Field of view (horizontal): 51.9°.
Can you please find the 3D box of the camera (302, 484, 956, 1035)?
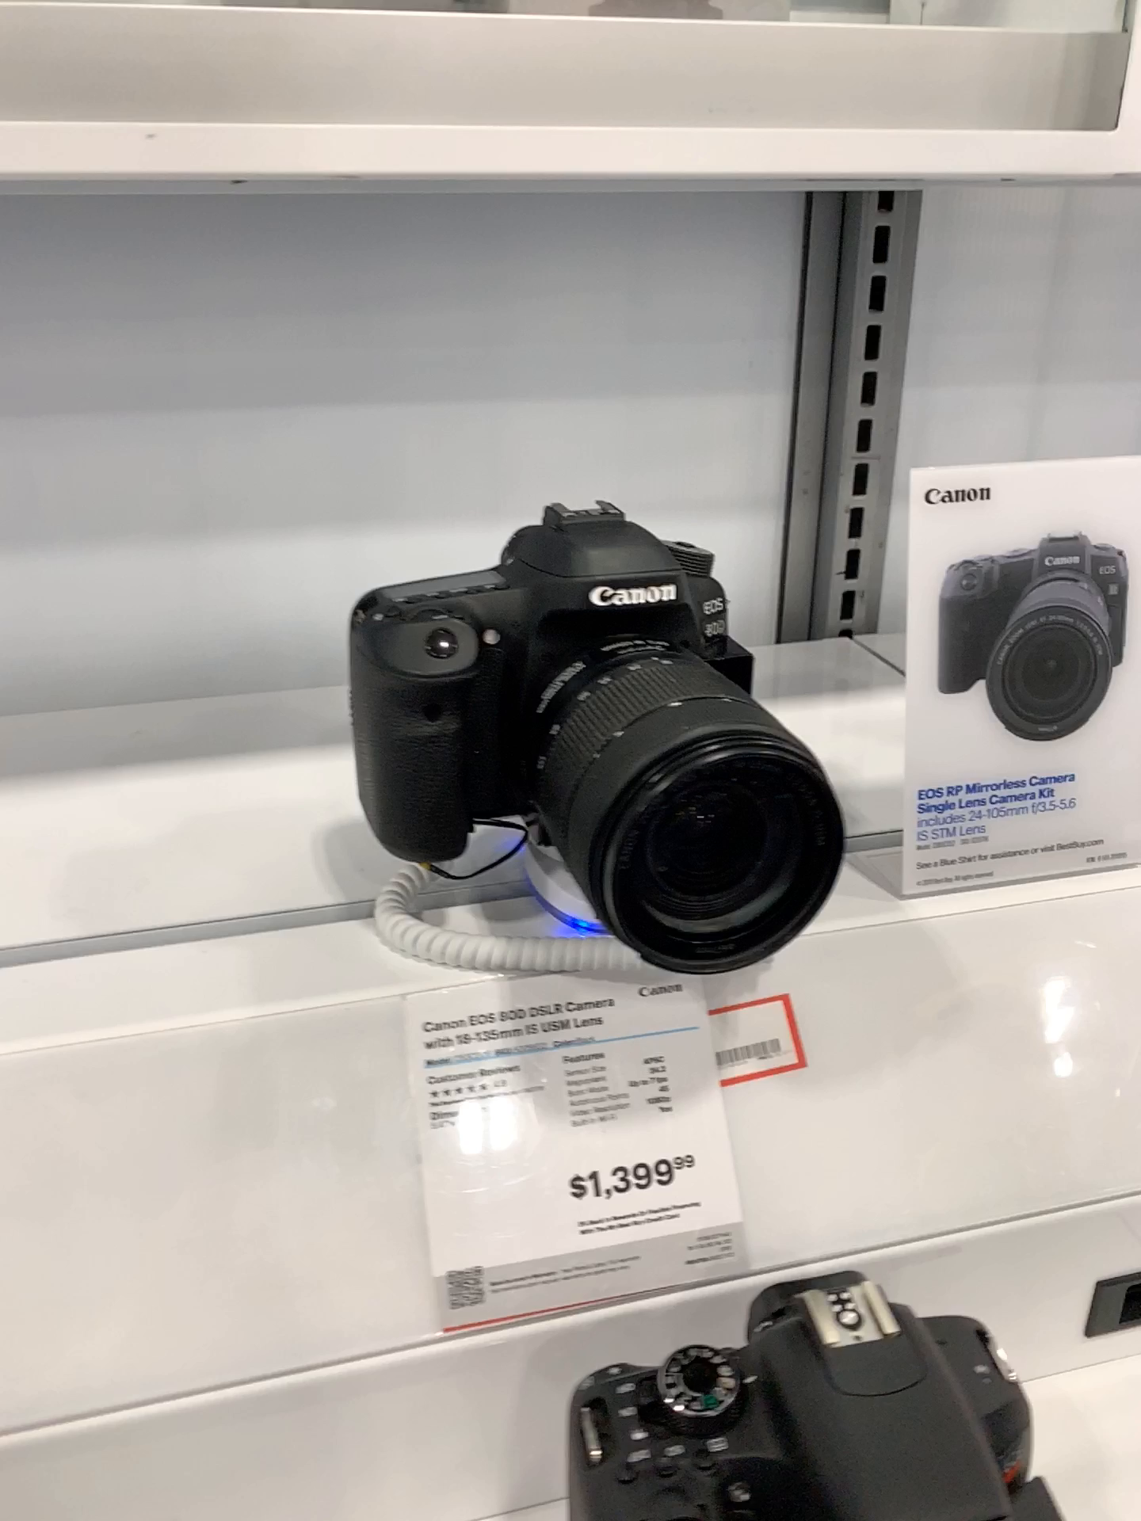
[{"bbox_3d":[0.003,-0.018,0.375,0.150,0.099,0.171,-8,25,-15],"label":"camera"}]
